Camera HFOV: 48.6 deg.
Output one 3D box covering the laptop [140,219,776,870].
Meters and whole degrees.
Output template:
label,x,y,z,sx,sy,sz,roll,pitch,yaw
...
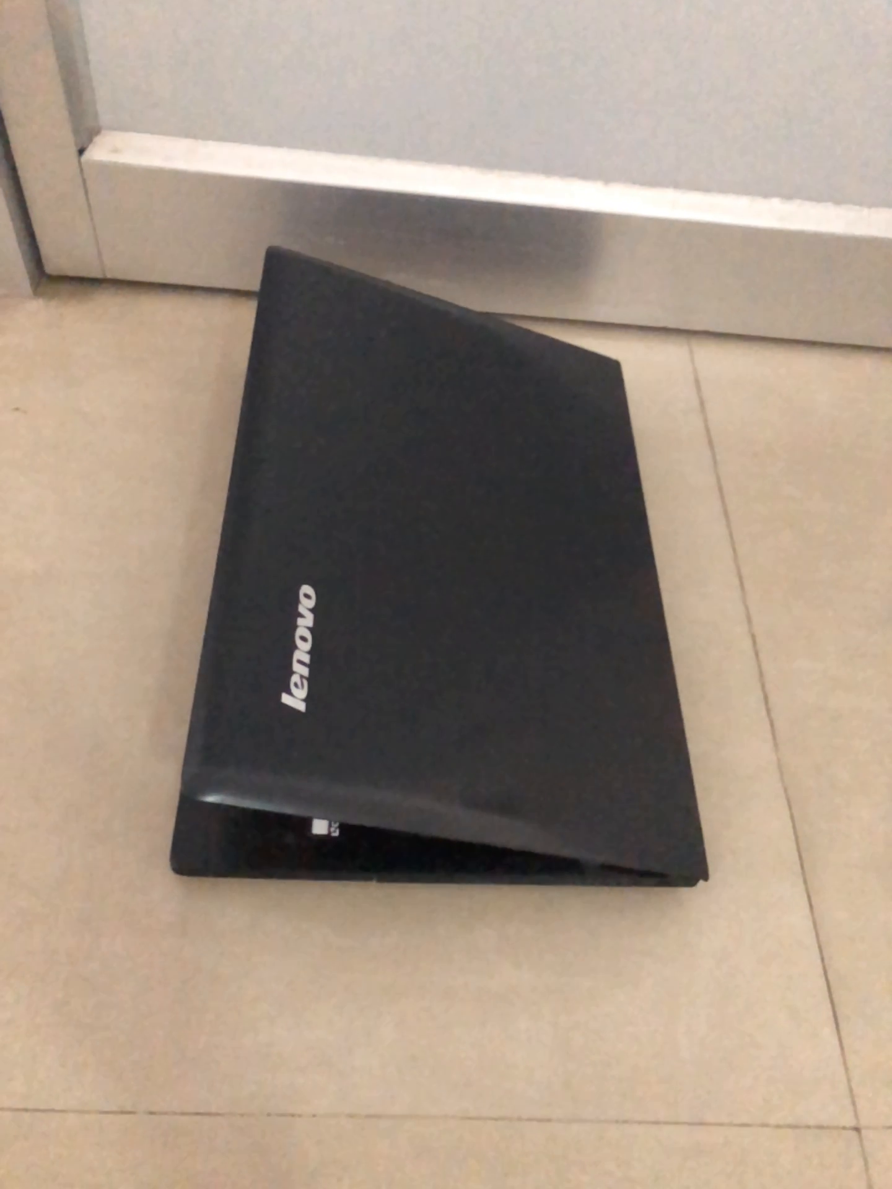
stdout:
label,x,y,z,sx,sy,sz,roll,pitch,yaw
laptop,0.002,-0.046,0.544,0.257,0.097,0.369,2,54,-6
